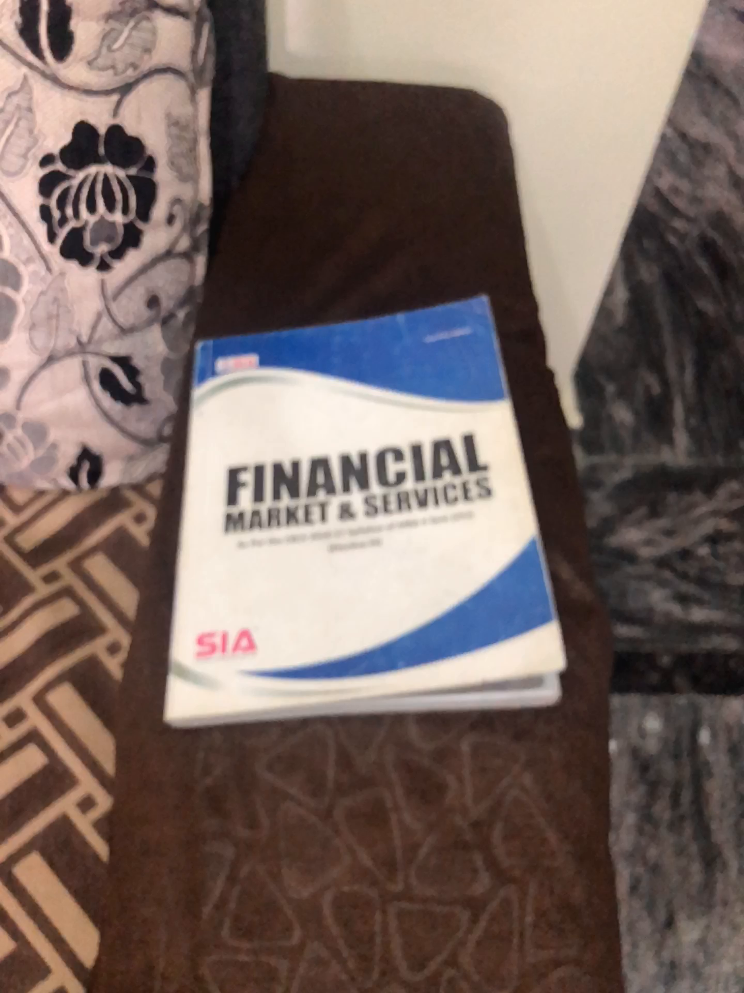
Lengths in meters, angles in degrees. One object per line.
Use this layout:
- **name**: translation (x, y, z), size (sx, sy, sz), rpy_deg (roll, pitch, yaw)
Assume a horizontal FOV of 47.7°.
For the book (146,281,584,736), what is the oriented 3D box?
- **book**: translation (-0.012, -0.010, 0.522), size (0.220, 0.040, 0.291), rpy_deg (-6, 53, 2)
